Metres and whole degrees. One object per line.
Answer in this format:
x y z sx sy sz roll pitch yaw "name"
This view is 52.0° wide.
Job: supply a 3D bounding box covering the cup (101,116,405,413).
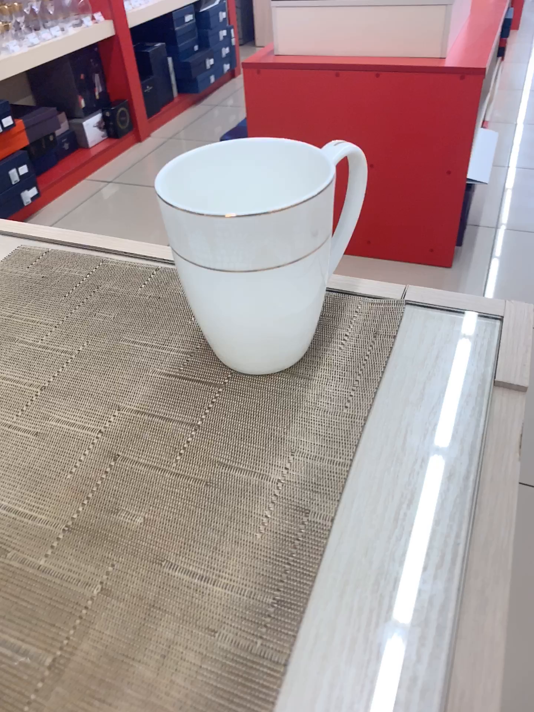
-0.005 -0.056 0.301 0.120 0.100 0.090 -26 45 -23 "cup"
